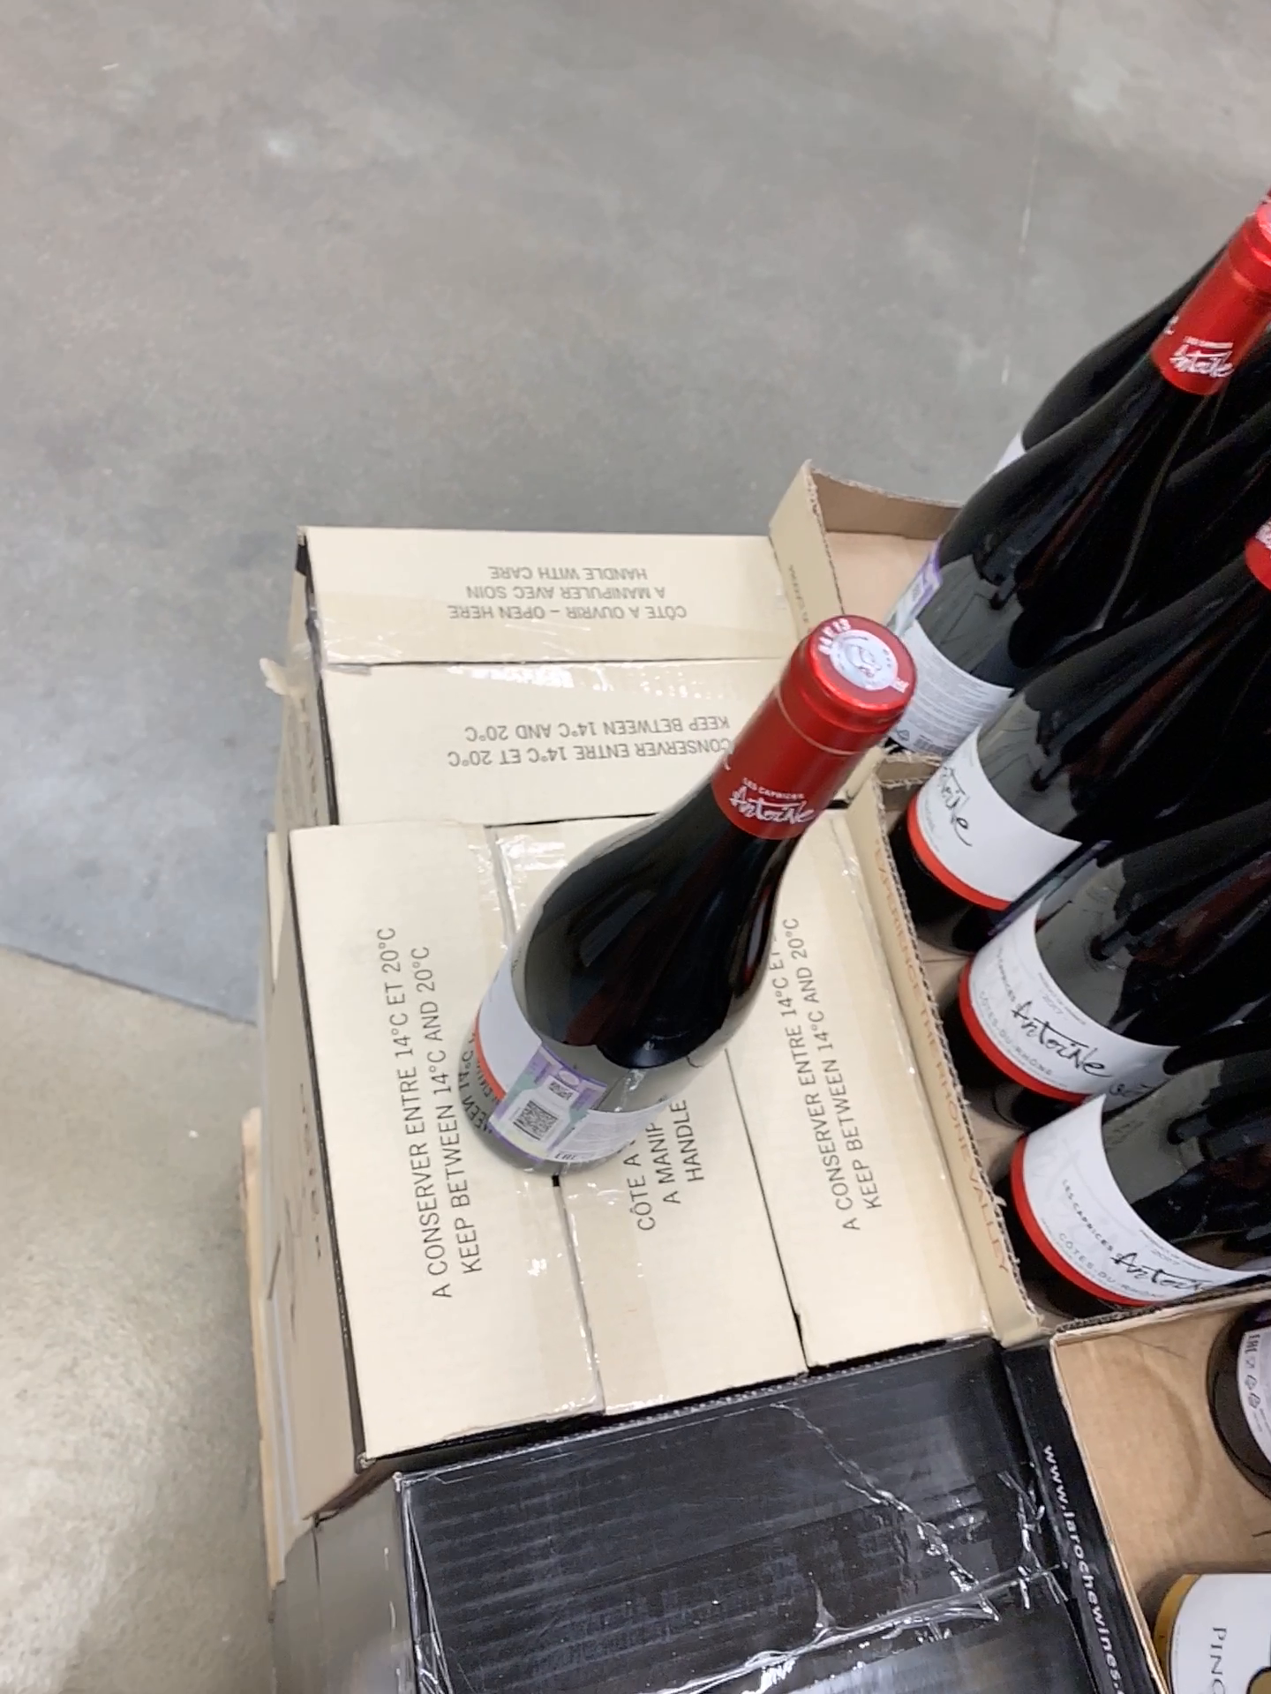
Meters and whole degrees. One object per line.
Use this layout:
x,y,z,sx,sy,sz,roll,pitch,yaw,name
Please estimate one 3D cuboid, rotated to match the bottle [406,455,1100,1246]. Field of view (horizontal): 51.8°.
0.008,0.030,0.417,0.090,0.299,0.090,8,60,-13,bottle
